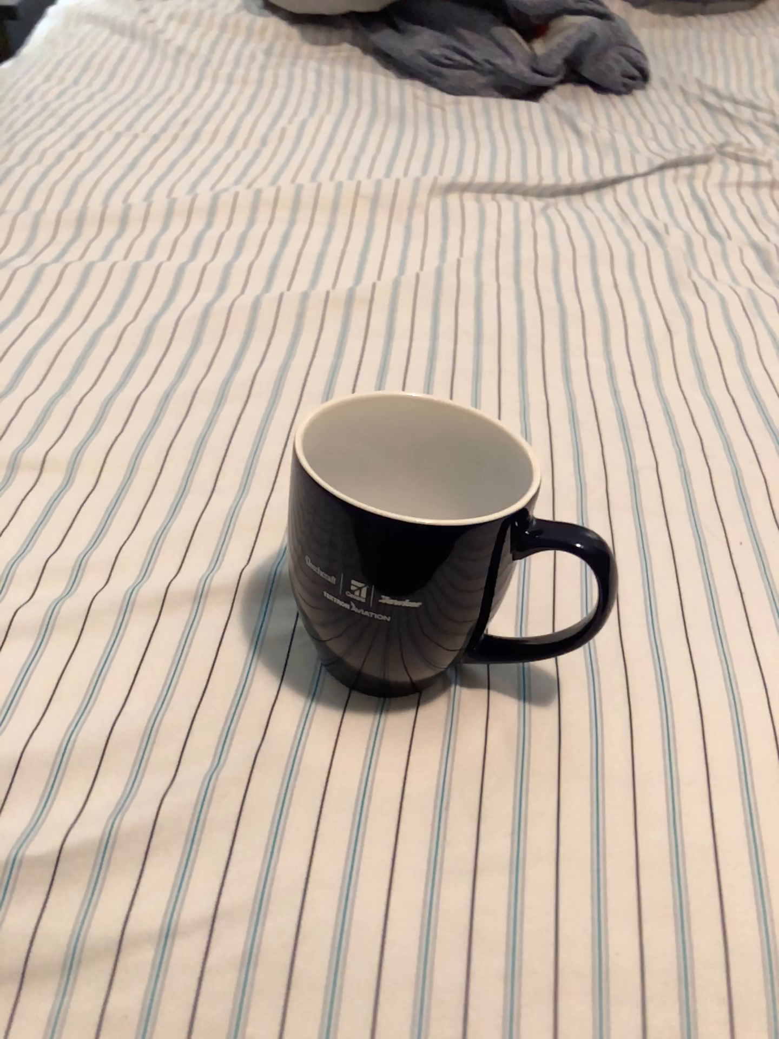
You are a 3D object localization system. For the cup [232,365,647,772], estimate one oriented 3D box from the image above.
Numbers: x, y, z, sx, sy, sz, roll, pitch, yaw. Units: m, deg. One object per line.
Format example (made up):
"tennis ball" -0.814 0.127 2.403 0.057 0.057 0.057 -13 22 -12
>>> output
"cup" 0.018 0.014 0.345 0.130 0.090 0.090 19 39 15
